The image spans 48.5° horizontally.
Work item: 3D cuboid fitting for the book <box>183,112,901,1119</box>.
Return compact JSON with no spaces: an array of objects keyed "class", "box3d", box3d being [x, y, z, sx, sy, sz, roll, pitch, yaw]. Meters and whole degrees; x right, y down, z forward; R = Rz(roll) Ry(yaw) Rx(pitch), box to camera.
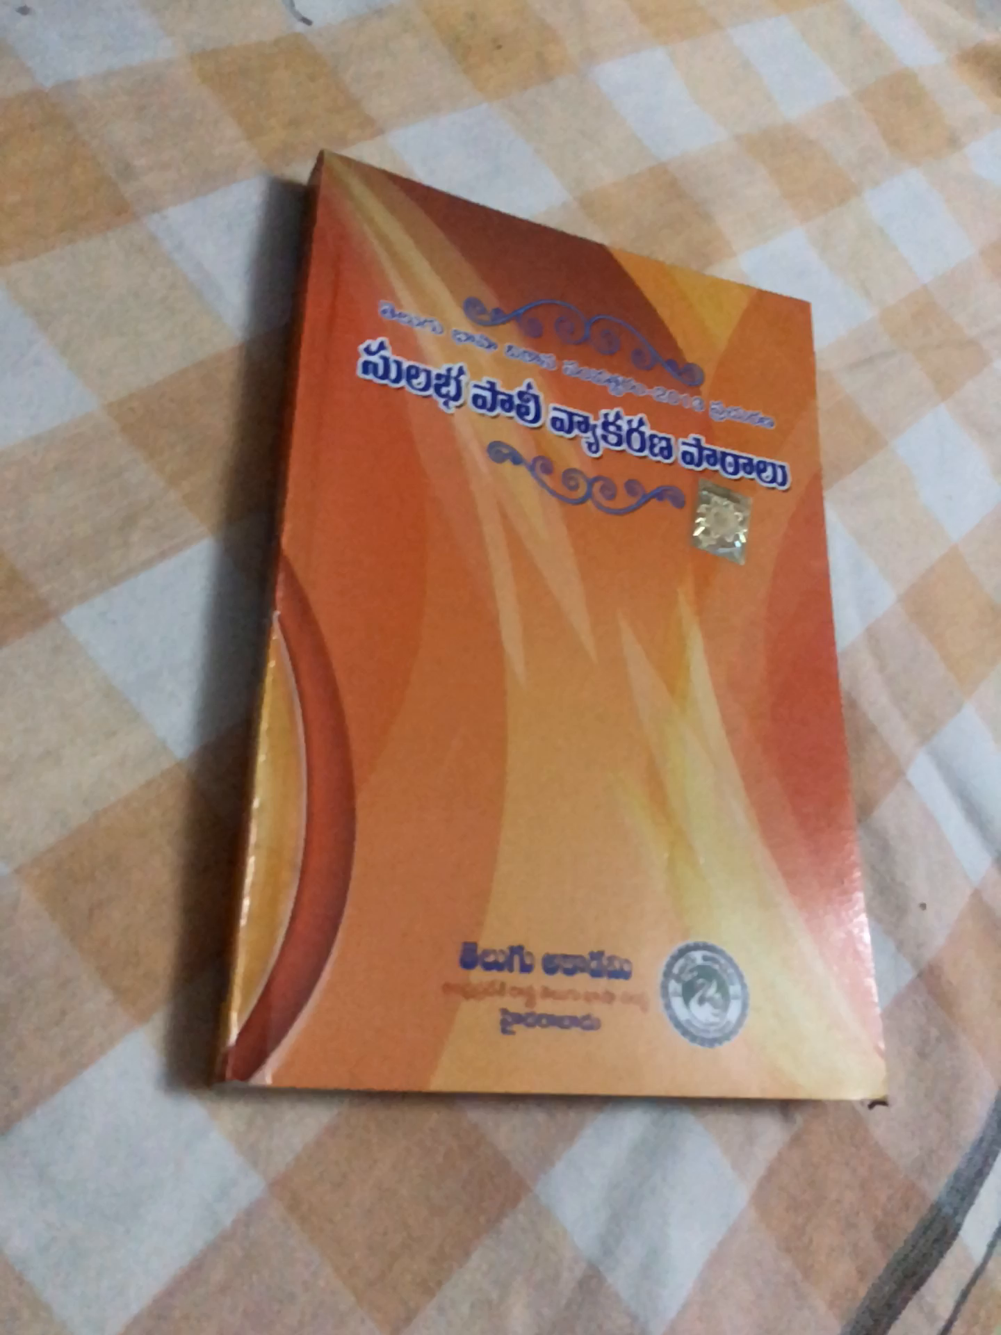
[{"class":"book","box3d":[0.015,-0.013,0.248,0.141,0.020,0.210,11,66,-23]}]
